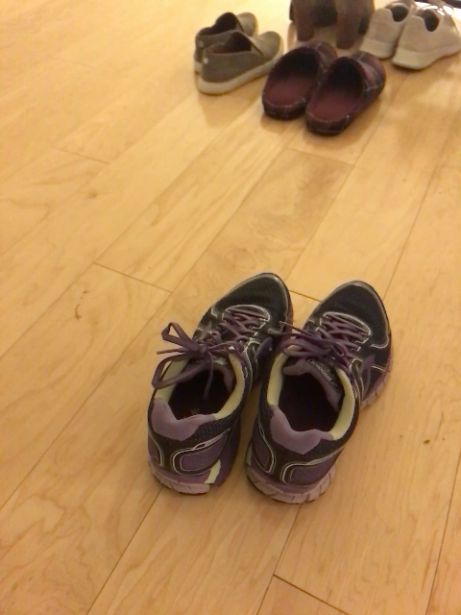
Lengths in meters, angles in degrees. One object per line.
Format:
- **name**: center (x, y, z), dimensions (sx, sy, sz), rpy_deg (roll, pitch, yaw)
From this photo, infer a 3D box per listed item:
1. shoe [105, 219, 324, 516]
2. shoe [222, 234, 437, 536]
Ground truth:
- **shoe**: center (0.001, 0.044, 0.532), dimensions (0.110, 0.099, 0.292), rpy_deg (17, 50, 15)
- **shoe**: center (0.111, 0.057, 0.516), dimensions (0.120, 0.079, 0.292), rpy_deg (20, 51, 17)
